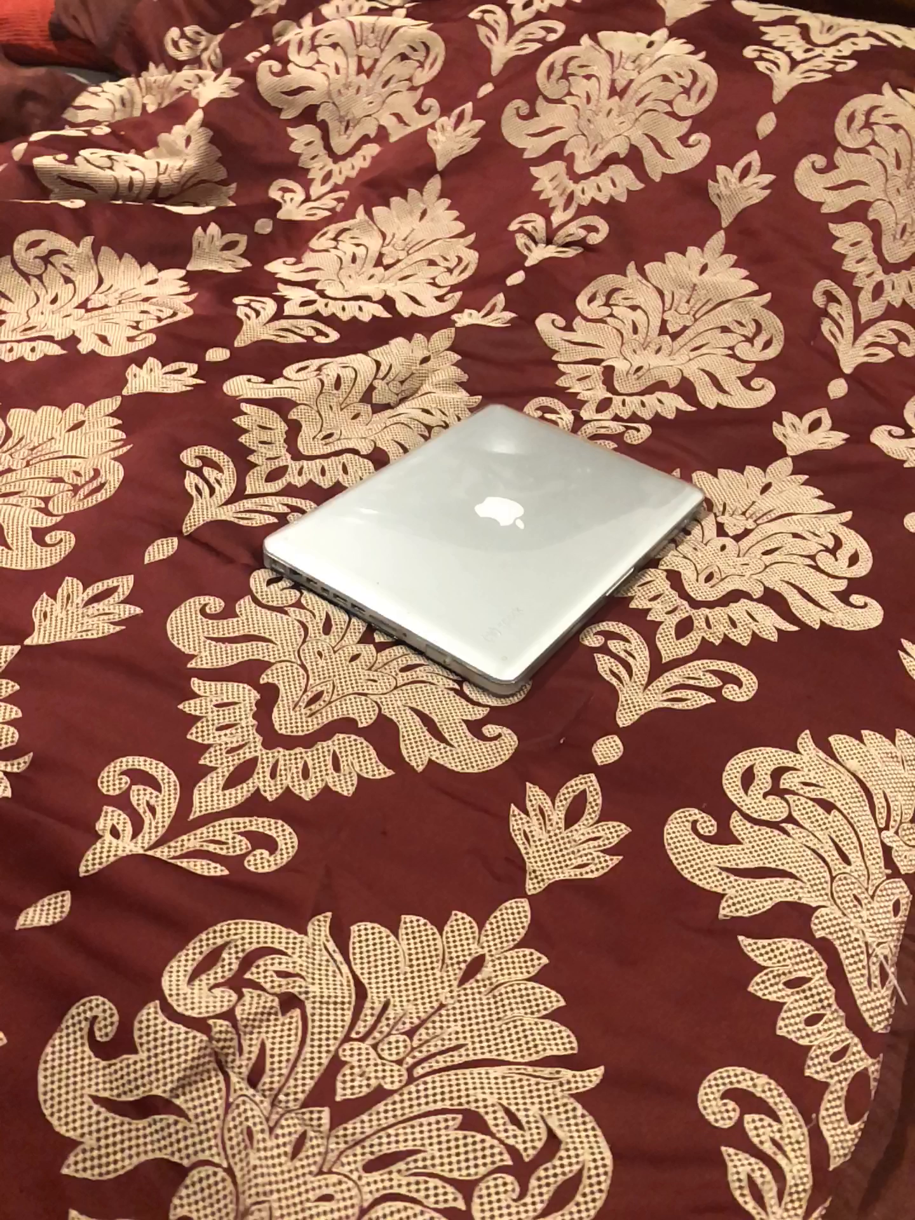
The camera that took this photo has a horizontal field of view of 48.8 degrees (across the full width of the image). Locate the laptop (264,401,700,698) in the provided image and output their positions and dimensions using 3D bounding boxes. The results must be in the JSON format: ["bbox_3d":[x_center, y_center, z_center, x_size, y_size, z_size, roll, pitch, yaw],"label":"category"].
[{"bbox_3d":[0.032,-0.067,0.790,0.207,0.015,0.305,28,44,22],"label":"laptop"}]
